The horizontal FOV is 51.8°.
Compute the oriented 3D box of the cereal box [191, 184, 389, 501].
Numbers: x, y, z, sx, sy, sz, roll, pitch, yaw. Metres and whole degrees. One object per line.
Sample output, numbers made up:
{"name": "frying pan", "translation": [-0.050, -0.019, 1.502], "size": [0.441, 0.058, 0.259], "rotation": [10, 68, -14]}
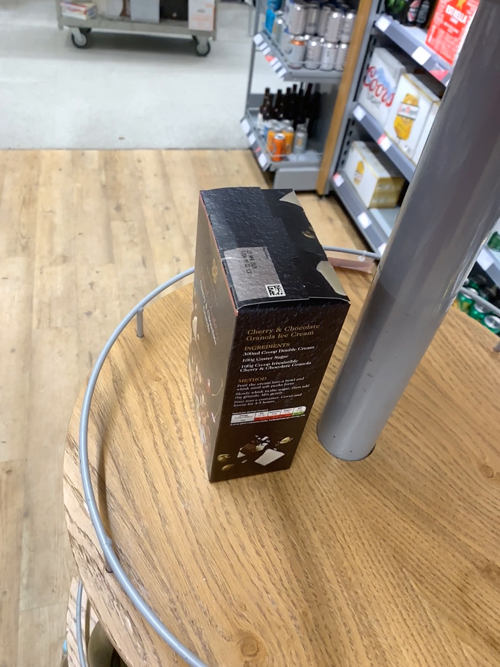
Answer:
{"name": "cereal box", "translation": [0.011, 0.014, 0.420], "size": [0.090, 0.218, 0.141], "rotation": [-5, 48, -14]}
